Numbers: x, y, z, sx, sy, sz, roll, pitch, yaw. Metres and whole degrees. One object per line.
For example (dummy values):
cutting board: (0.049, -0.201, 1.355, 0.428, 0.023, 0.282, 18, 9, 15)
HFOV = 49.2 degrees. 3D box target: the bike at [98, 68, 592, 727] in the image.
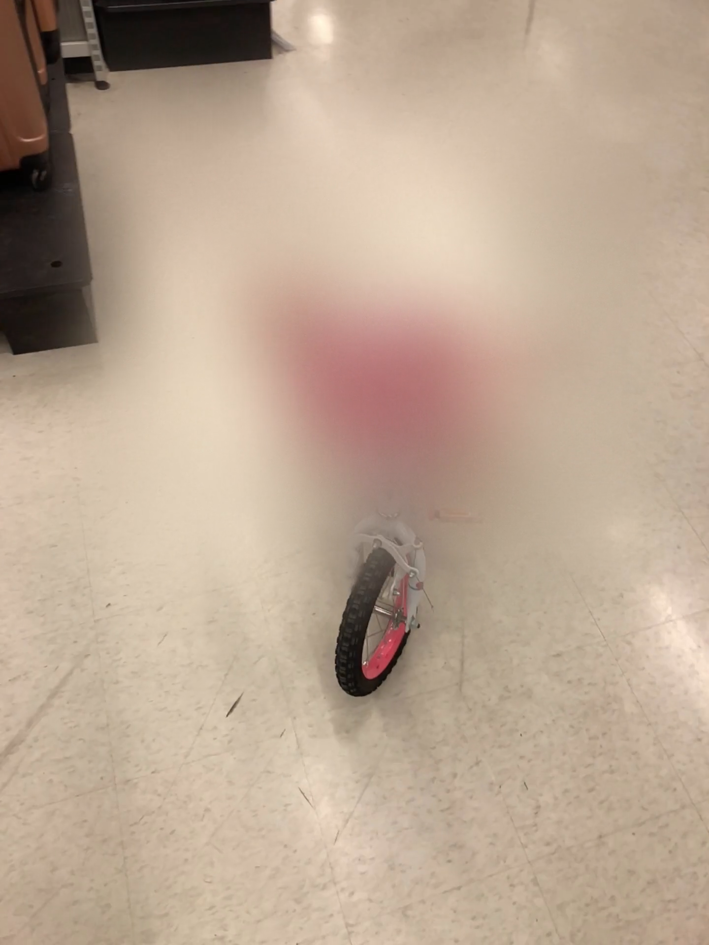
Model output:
bike: (0.028, -0.110, 1.292, 0.510, 0.680, 0.777, 9, 54, 3)
